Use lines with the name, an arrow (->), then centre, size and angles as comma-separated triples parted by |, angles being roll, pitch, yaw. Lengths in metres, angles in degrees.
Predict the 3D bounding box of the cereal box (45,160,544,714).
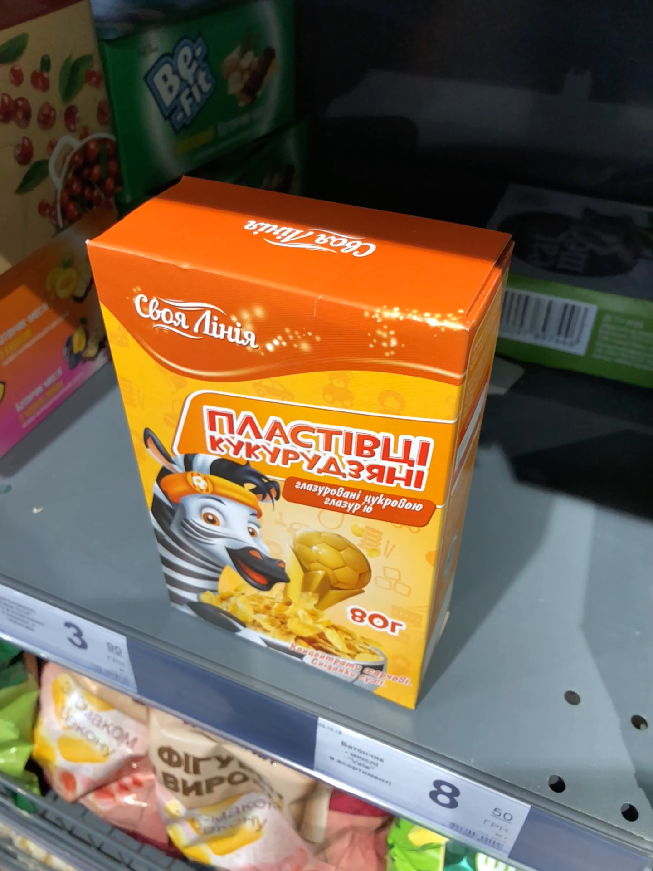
cereal box -> -0.009, 0.006, 0.242 | 0.120, 0.159, 0.050 | 17, 44, 19
